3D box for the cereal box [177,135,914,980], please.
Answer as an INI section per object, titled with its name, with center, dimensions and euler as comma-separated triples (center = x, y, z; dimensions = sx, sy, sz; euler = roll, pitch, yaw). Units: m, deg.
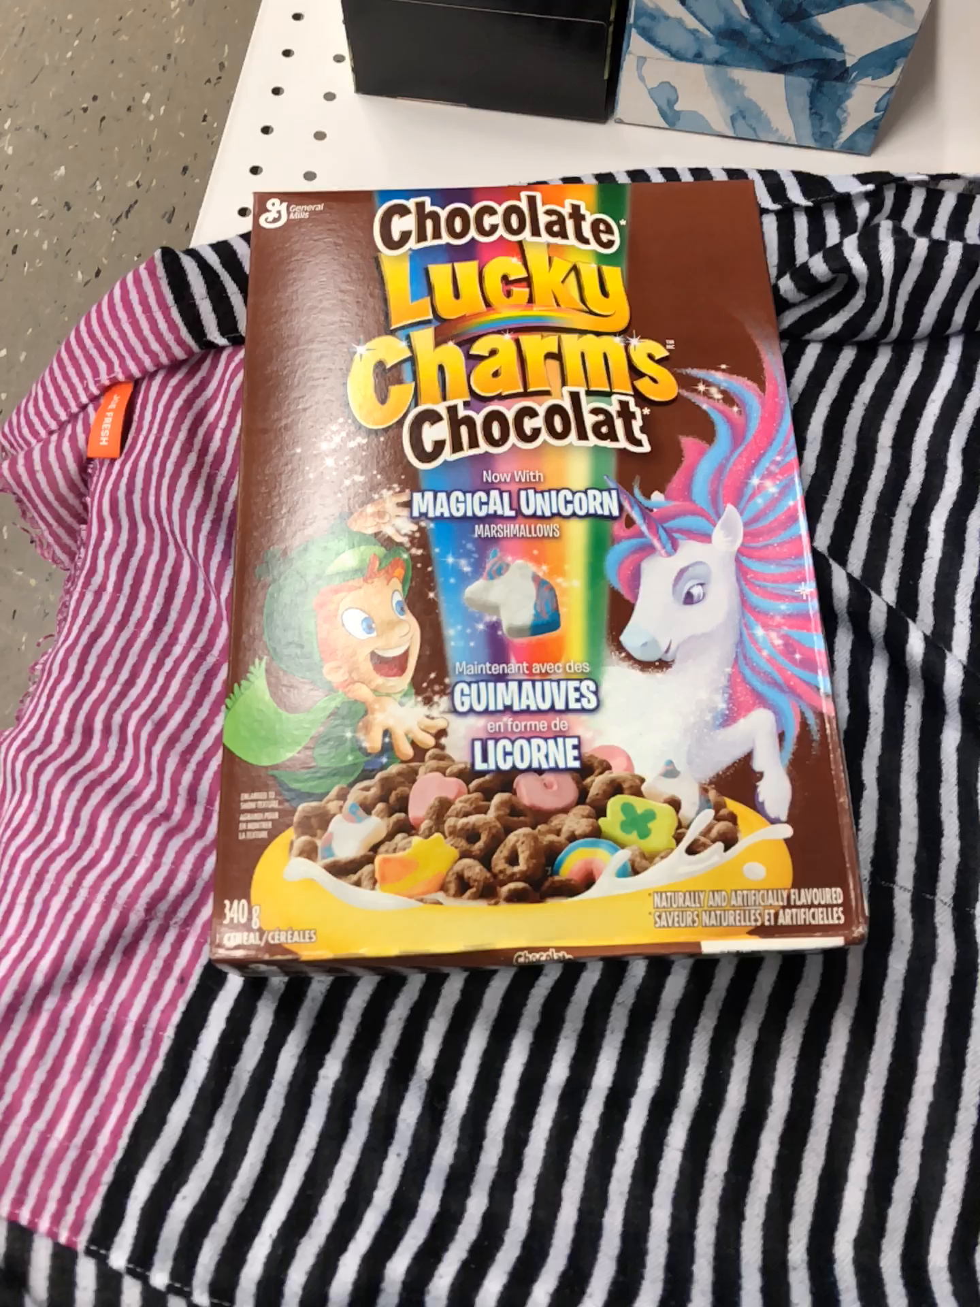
[cereal box]
center = 0.011, -0.041, 0.382
dimensions = 0.210, 0.060, 0.290
euler = -2, 72, -1
